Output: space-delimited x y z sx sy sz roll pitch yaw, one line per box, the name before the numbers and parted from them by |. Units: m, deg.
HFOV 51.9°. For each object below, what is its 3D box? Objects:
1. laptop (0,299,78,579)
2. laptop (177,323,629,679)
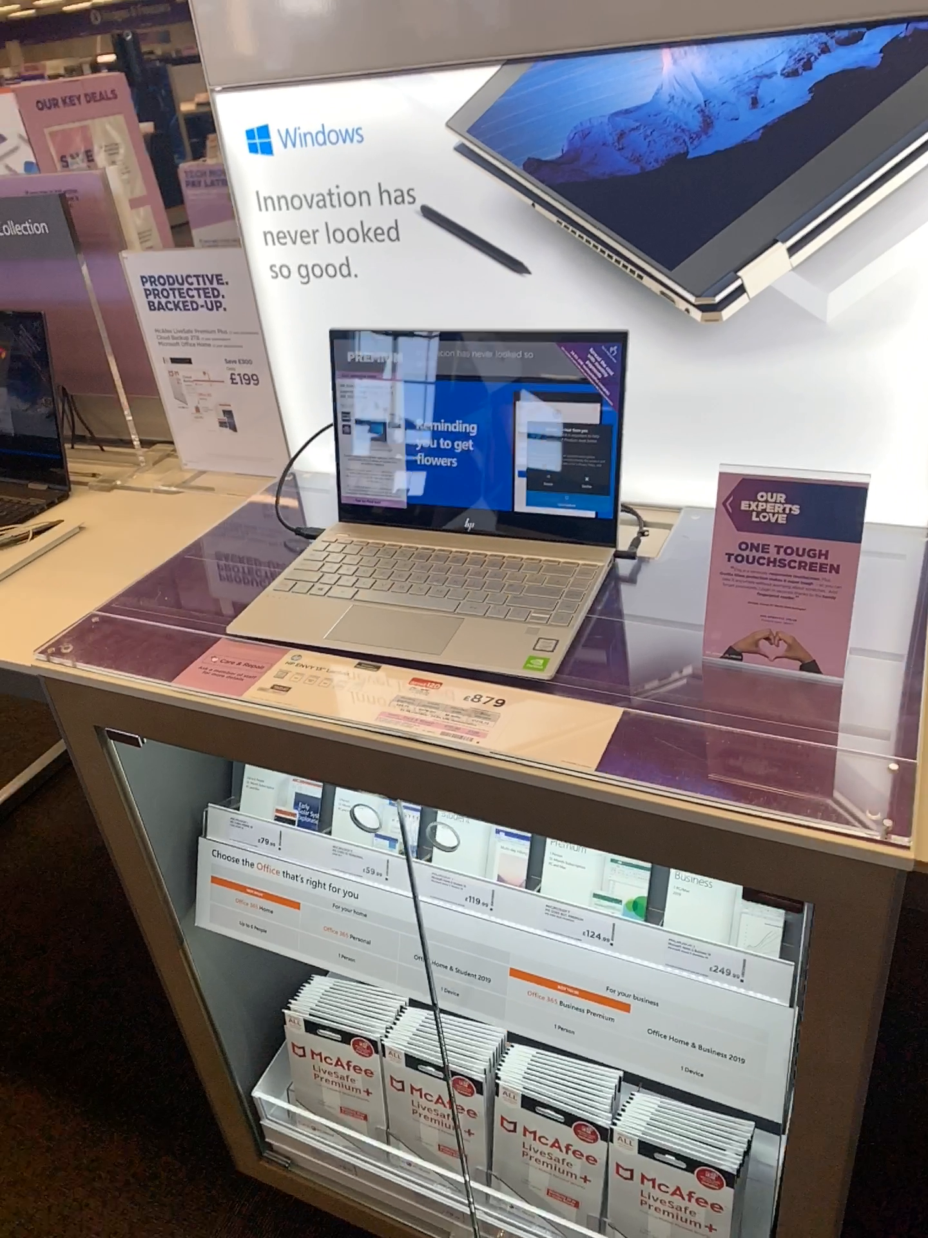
laptop | -0.794 -0.262 1.307 0.299 0.236 0.314 10 36 21
laptop | -0.032 -0.123 0.829 0.295 0.181 0.262 7 35 21
